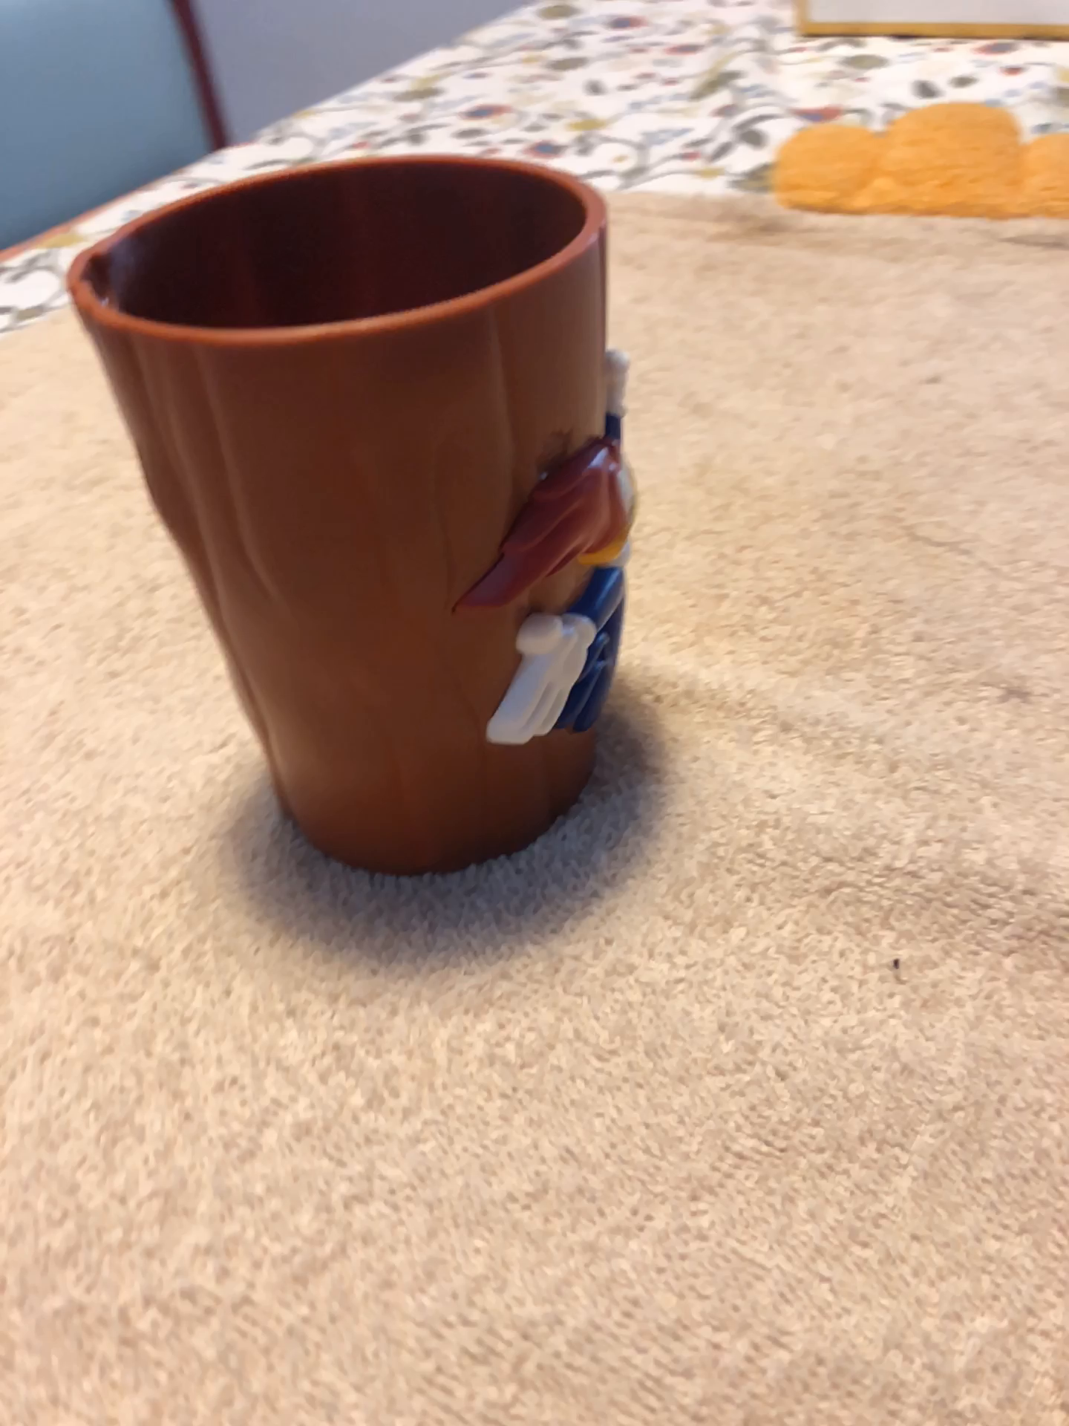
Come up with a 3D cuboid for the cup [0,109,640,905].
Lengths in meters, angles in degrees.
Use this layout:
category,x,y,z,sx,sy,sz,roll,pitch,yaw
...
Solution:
category,x,y,z,sx,sy,sz,roll,pitch,yaw
cup,-0.030,-0.034,0.215,0.090,0.109,0.081,-3,40,6
